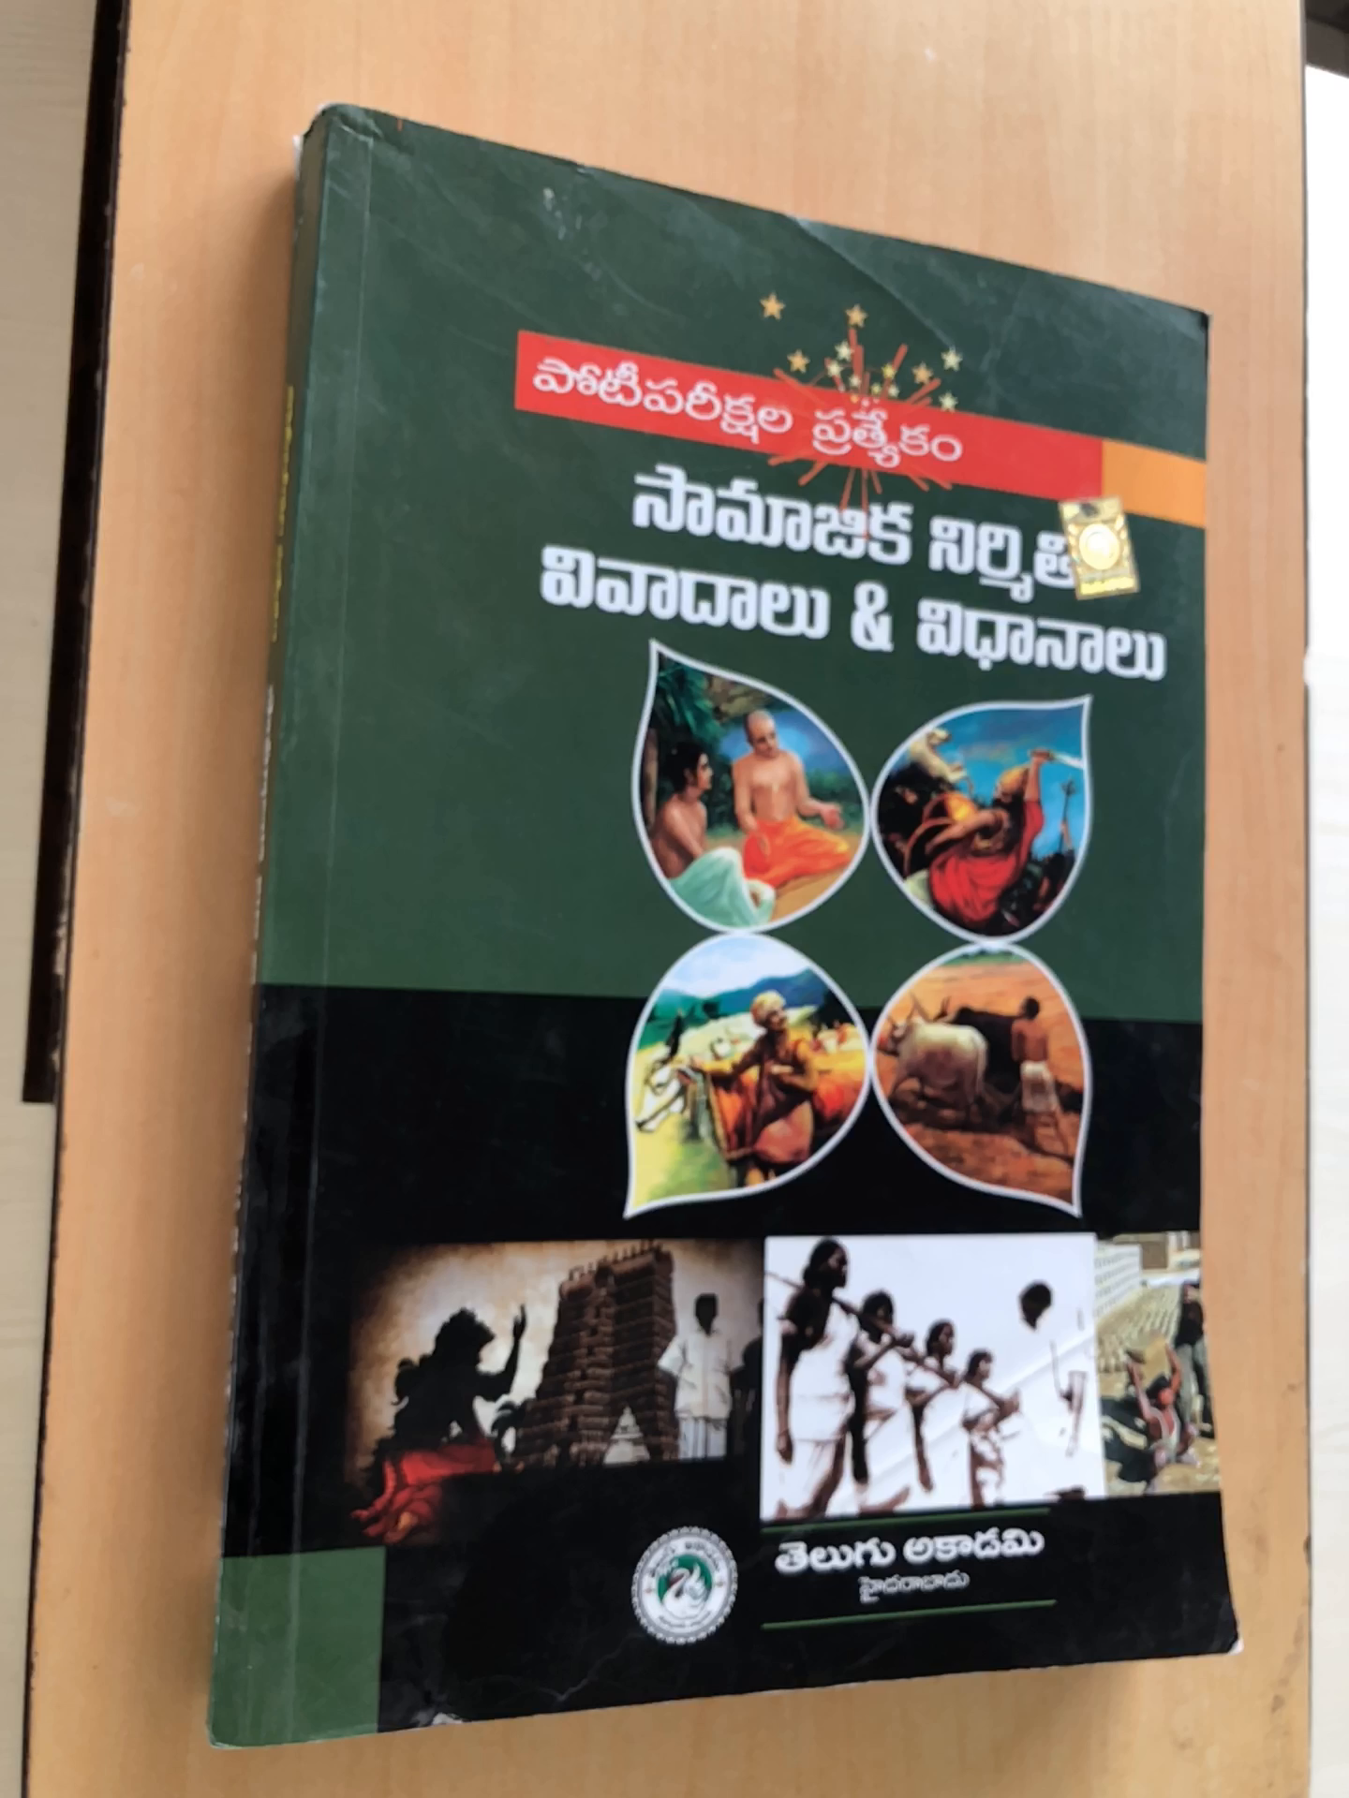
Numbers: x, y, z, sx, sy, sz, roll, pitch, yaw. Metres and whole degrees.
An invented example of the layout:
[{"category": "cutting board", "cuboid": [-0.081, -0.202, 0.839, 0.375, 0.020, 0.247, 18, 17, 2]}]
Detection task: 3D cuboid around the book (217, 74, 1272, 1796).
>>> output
[{"category": "book", "cuboid": [0.020, 0.006, 0.293, 0.190, 0.050, 0.270, 4, 84, -20]}]
